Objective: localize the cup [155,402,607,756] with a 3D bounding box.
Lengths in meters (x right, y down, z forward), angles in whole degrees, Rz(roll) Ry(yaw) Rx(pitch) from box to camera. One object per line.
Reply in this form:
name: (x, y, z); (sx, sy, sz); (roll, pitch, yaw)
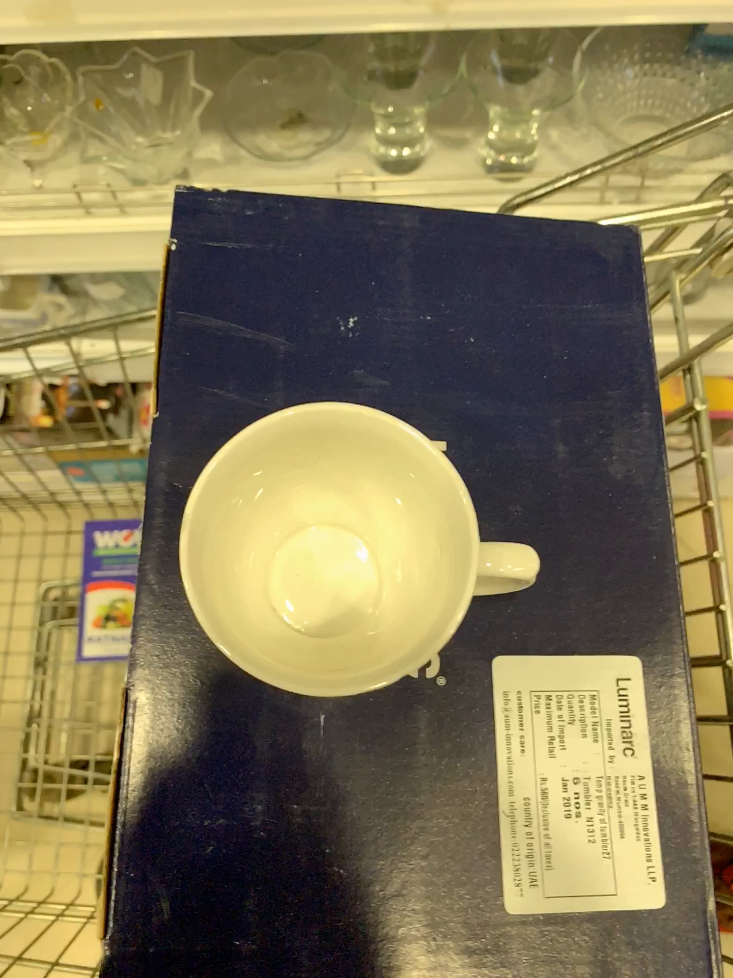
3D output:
cup: (0.004, 0.023, 0.180); (0.090, 0.040, 0.070); (4, 73, -2)
